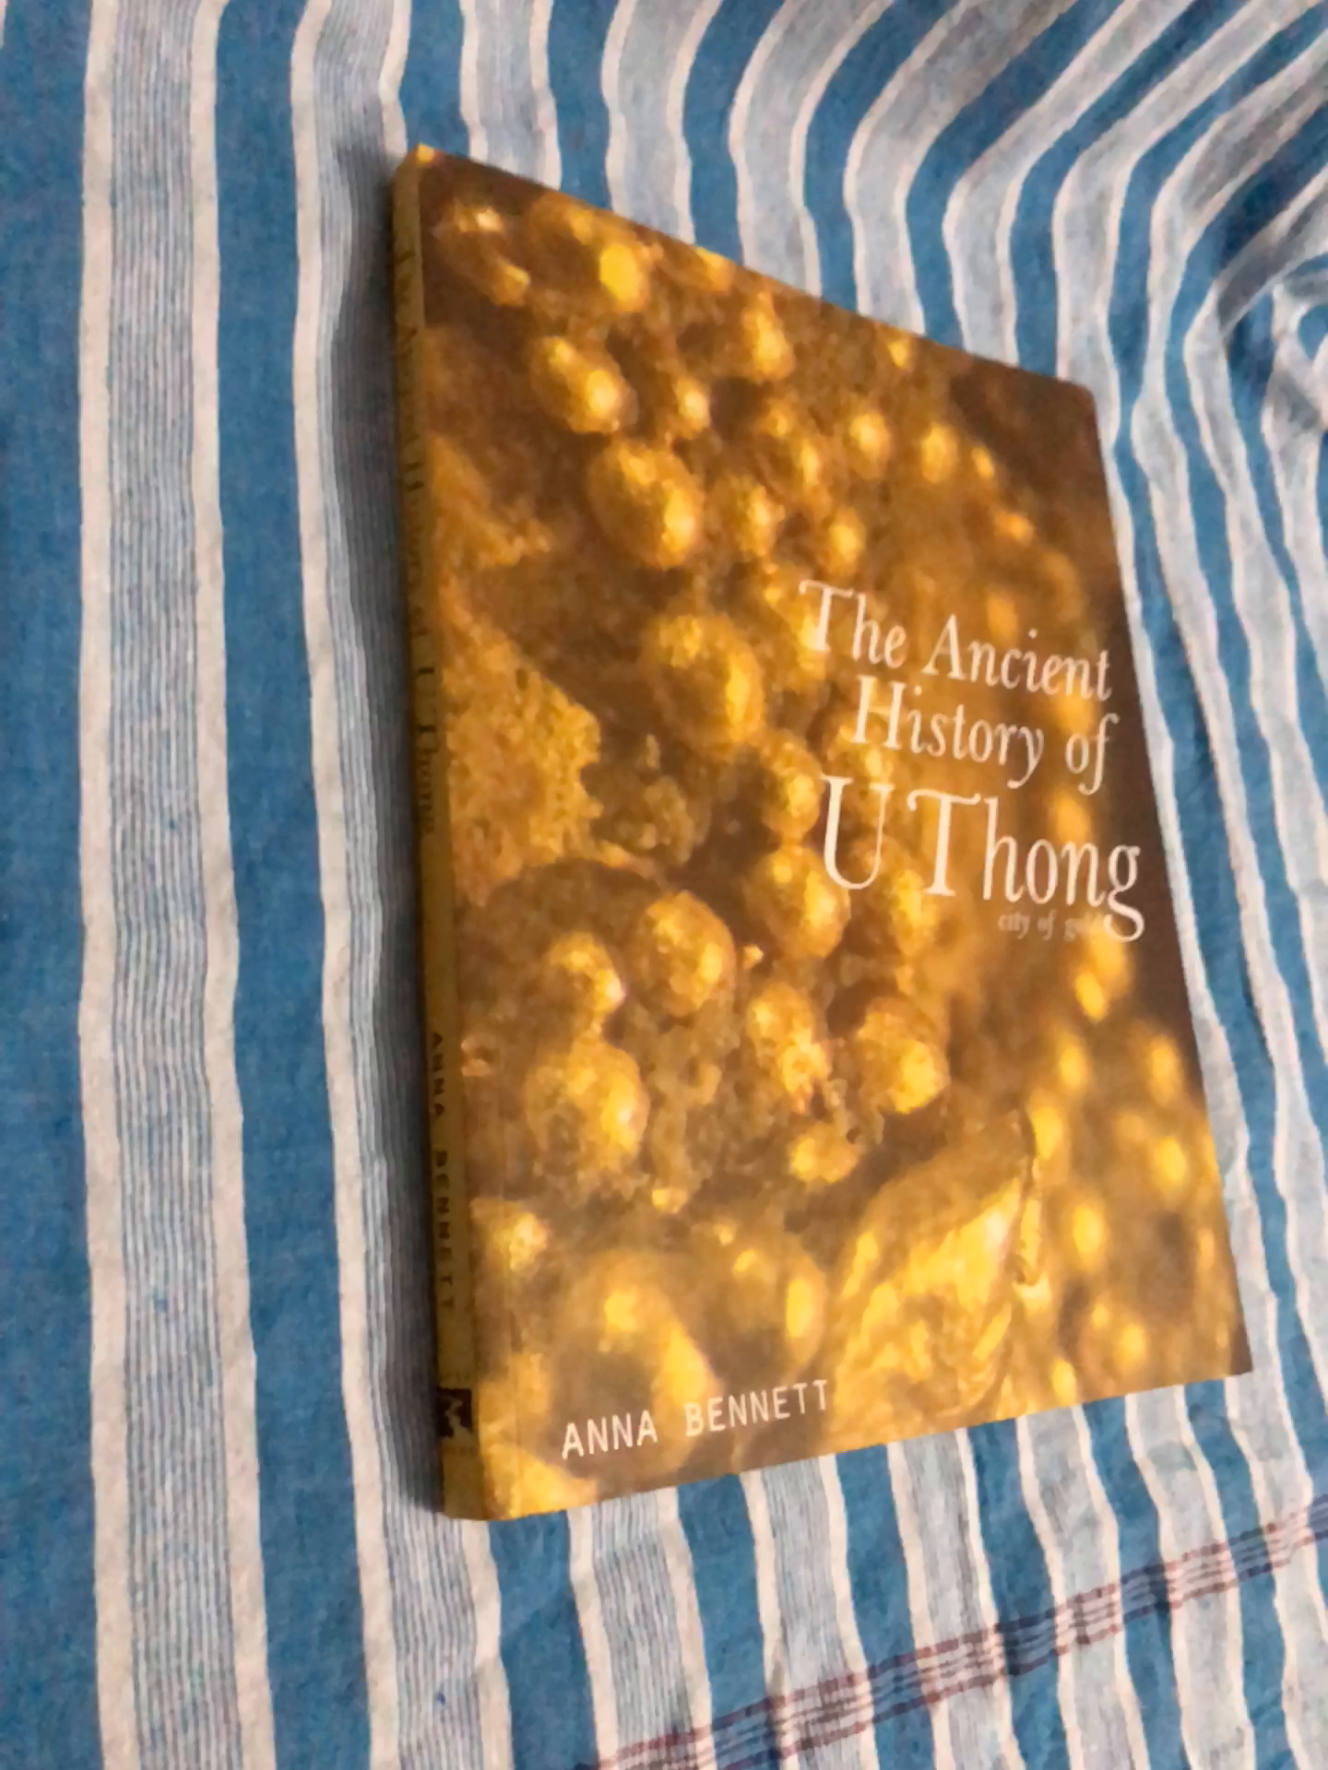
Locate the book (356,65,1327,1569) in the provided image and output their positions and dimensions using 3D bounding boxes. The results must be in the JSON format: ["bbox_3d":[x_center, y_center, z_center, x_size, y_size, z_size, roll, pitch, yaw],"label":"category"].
[{"bbox_3d":[0.047,-0.014,0.313,0.221,0.030,0.250,5,74,-37],"label":"book"}]
